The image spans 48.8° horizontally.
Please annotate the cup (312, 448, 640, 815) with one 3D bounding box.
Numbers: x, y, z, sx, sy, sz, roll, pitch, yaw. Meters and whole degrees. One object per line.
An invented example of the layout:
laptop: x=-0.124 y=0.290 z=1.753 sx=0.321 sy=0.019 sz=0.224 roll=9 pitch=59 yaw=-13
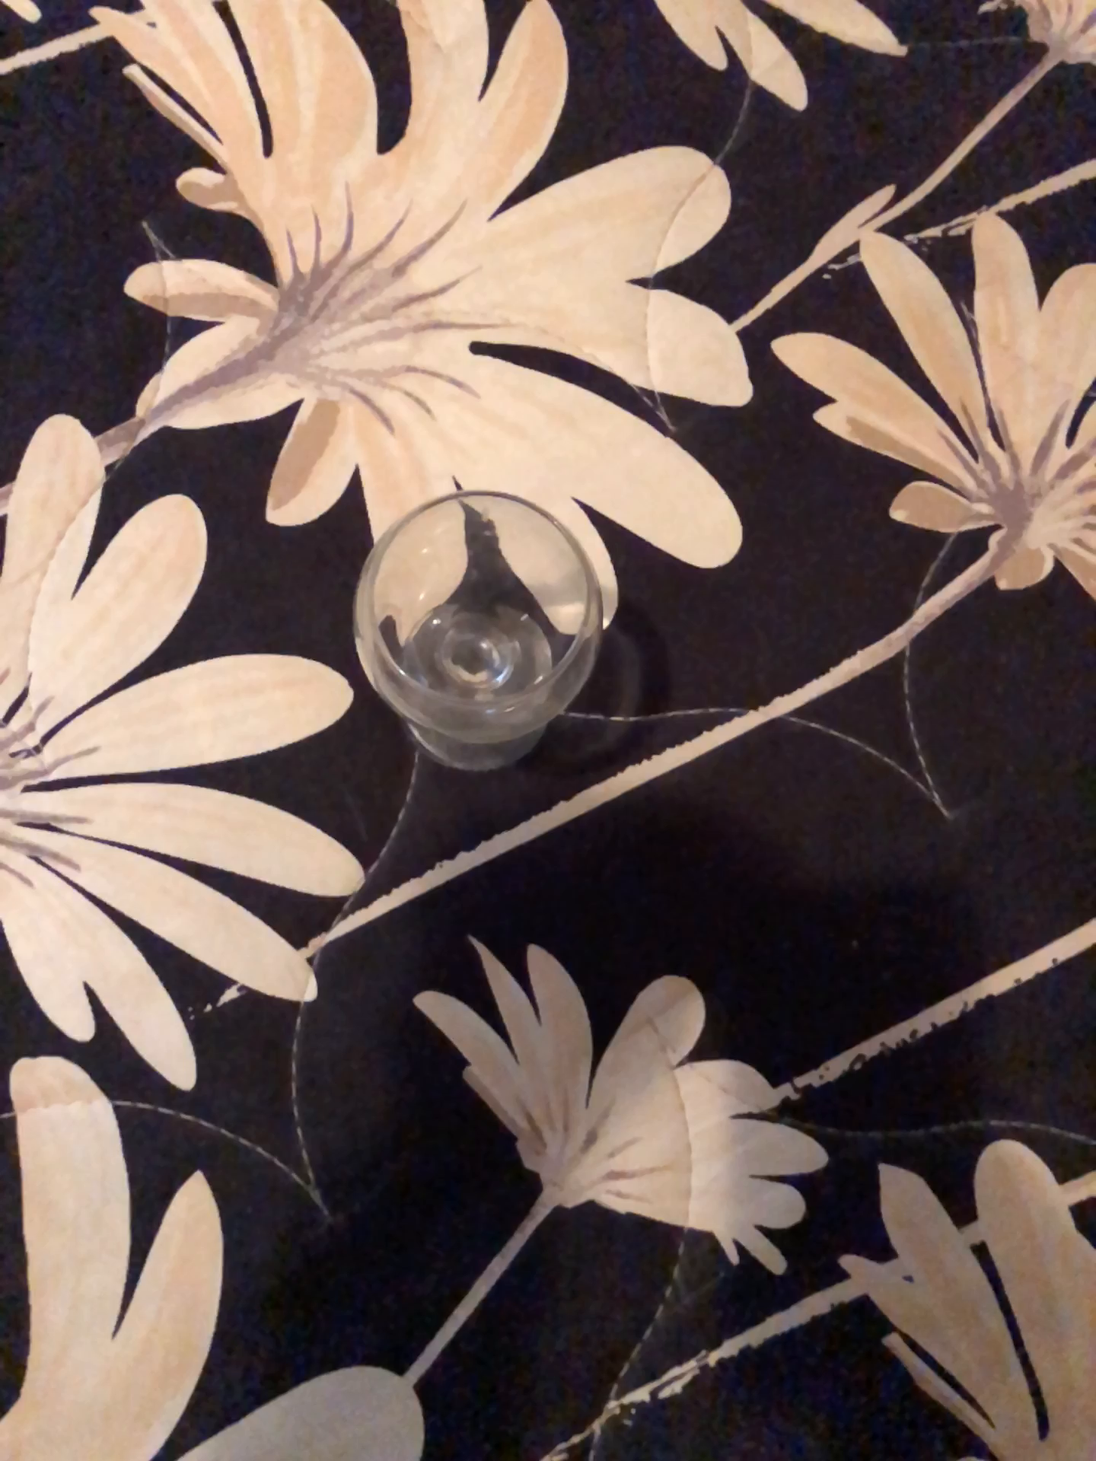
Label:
cup: x=-0.024 y=-0.024 z=0.405 sx=0.082 sy=0.139 sz=0.084 roll=0 pitch=81 yaw=-3
